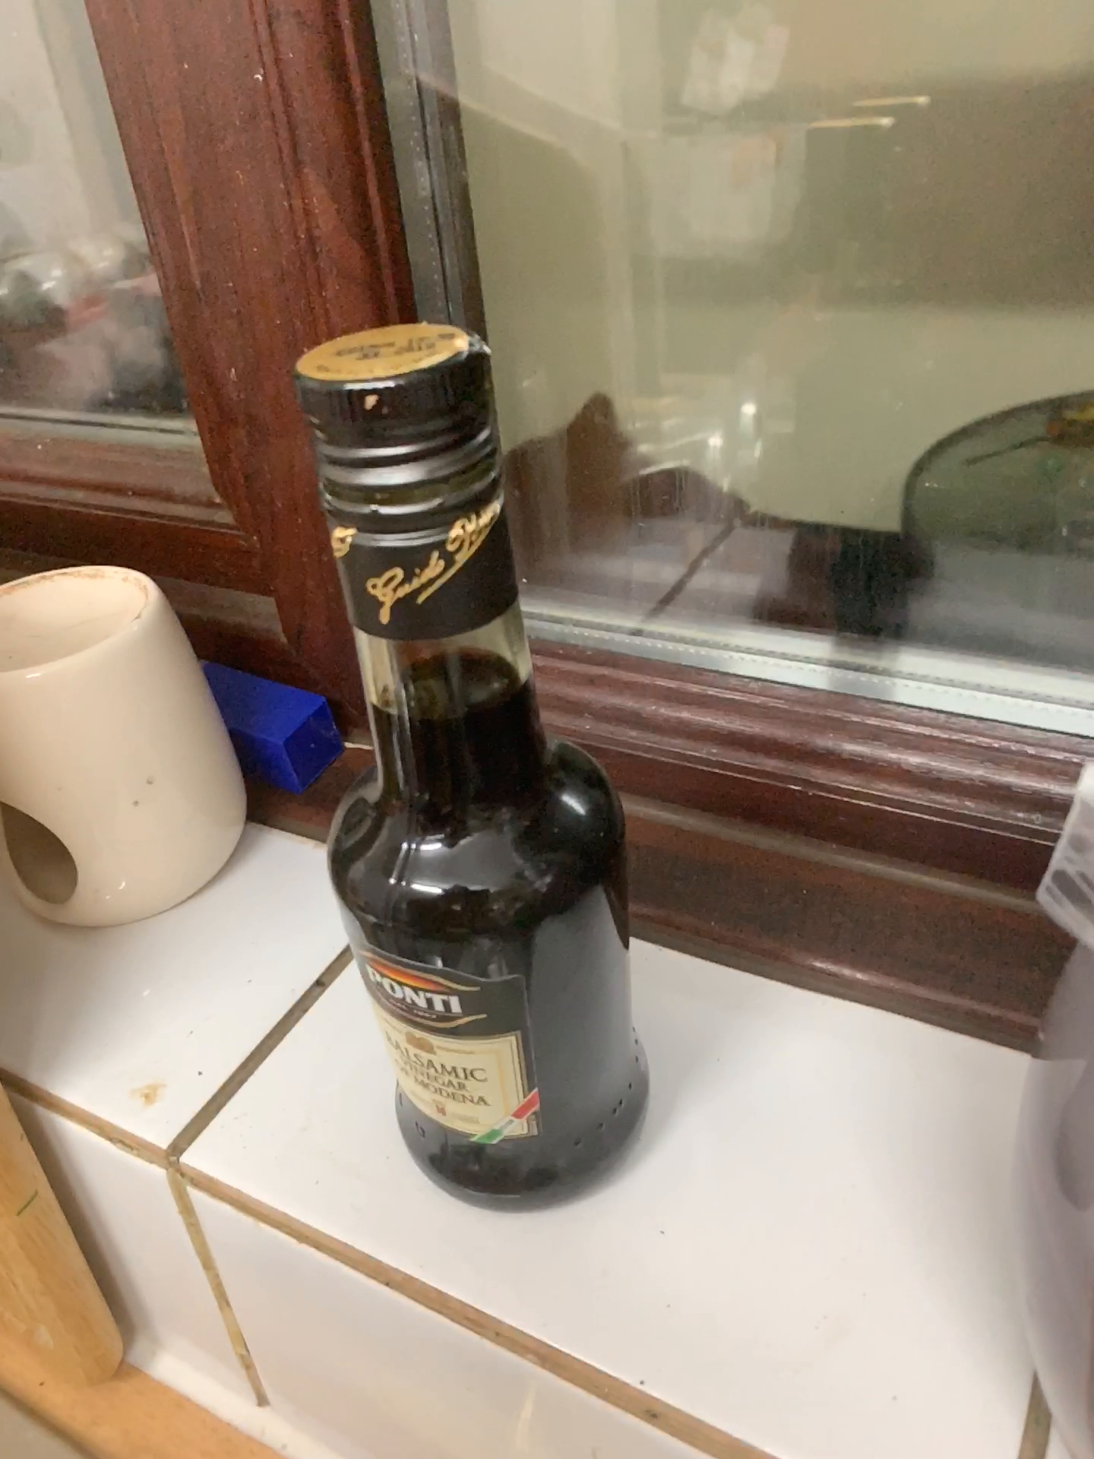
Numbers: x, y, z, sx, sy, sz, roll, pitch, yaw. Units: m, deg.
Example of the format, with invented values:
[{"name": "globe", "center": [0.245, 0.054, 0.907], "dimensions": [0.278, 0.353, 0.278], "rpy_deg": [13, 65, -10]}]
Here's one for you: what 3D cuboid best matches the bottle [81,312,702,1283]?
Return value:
[{"name": "bottle", "center": [-0.016, 0.017, 0.232], "dimensions": [0.070, 0.178, 0.071], "rpy_deg": [-5, 32, 3]}]
